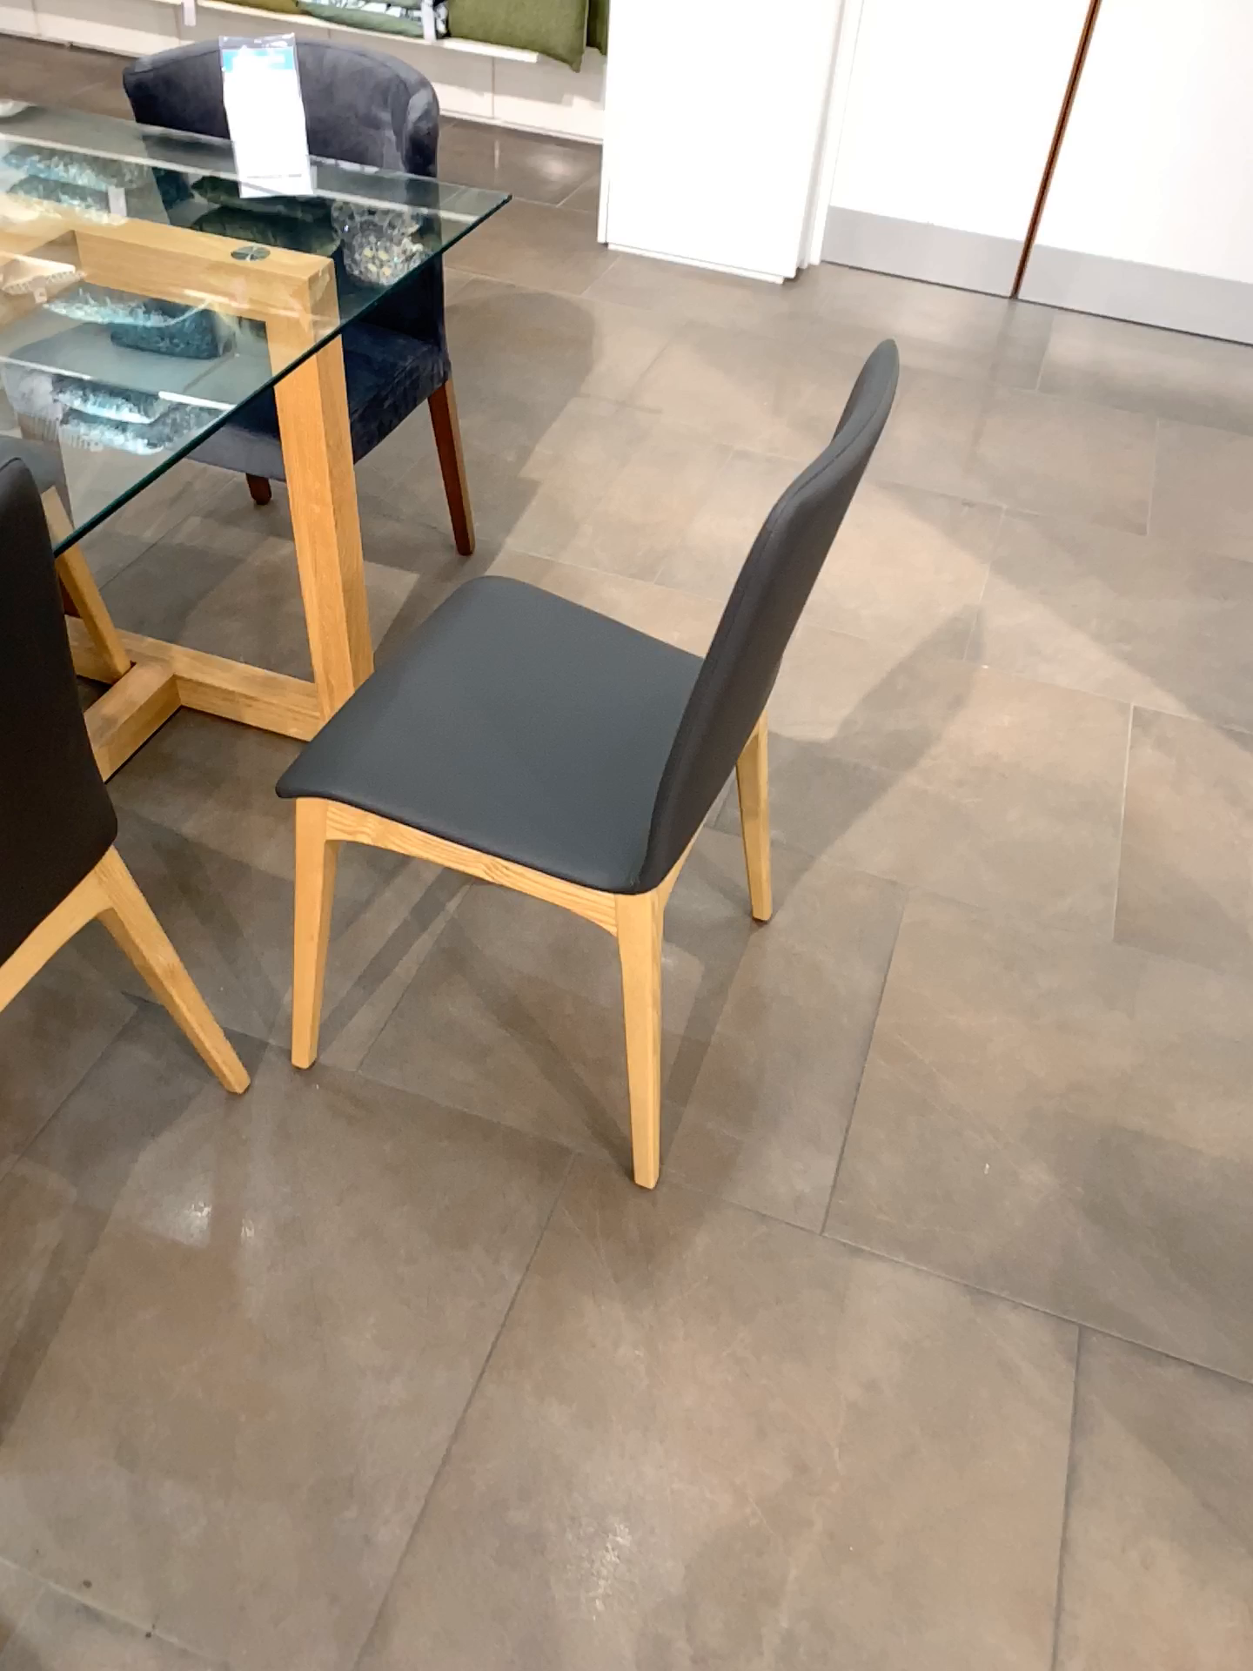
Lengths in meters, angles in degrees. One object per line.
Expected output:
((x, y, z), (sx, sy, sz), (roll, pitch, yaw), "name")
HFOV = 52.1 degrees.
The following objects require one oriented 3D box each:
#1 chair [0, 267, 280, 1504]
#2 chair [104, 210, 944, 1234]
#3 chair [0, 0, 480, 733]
((-0.703, 0.071, 1.104), (0.496, 0.833, 0.527), (15, 45, 11), "chair")
((-0.070, -0.113, 1.384), (0.537, 0.813, 0.567), (18, 45, 13), "chair")
((-0.581, -0.705, 1.954), (0.542, 0.813, 0.592), (12, 44, 7), "chair")
